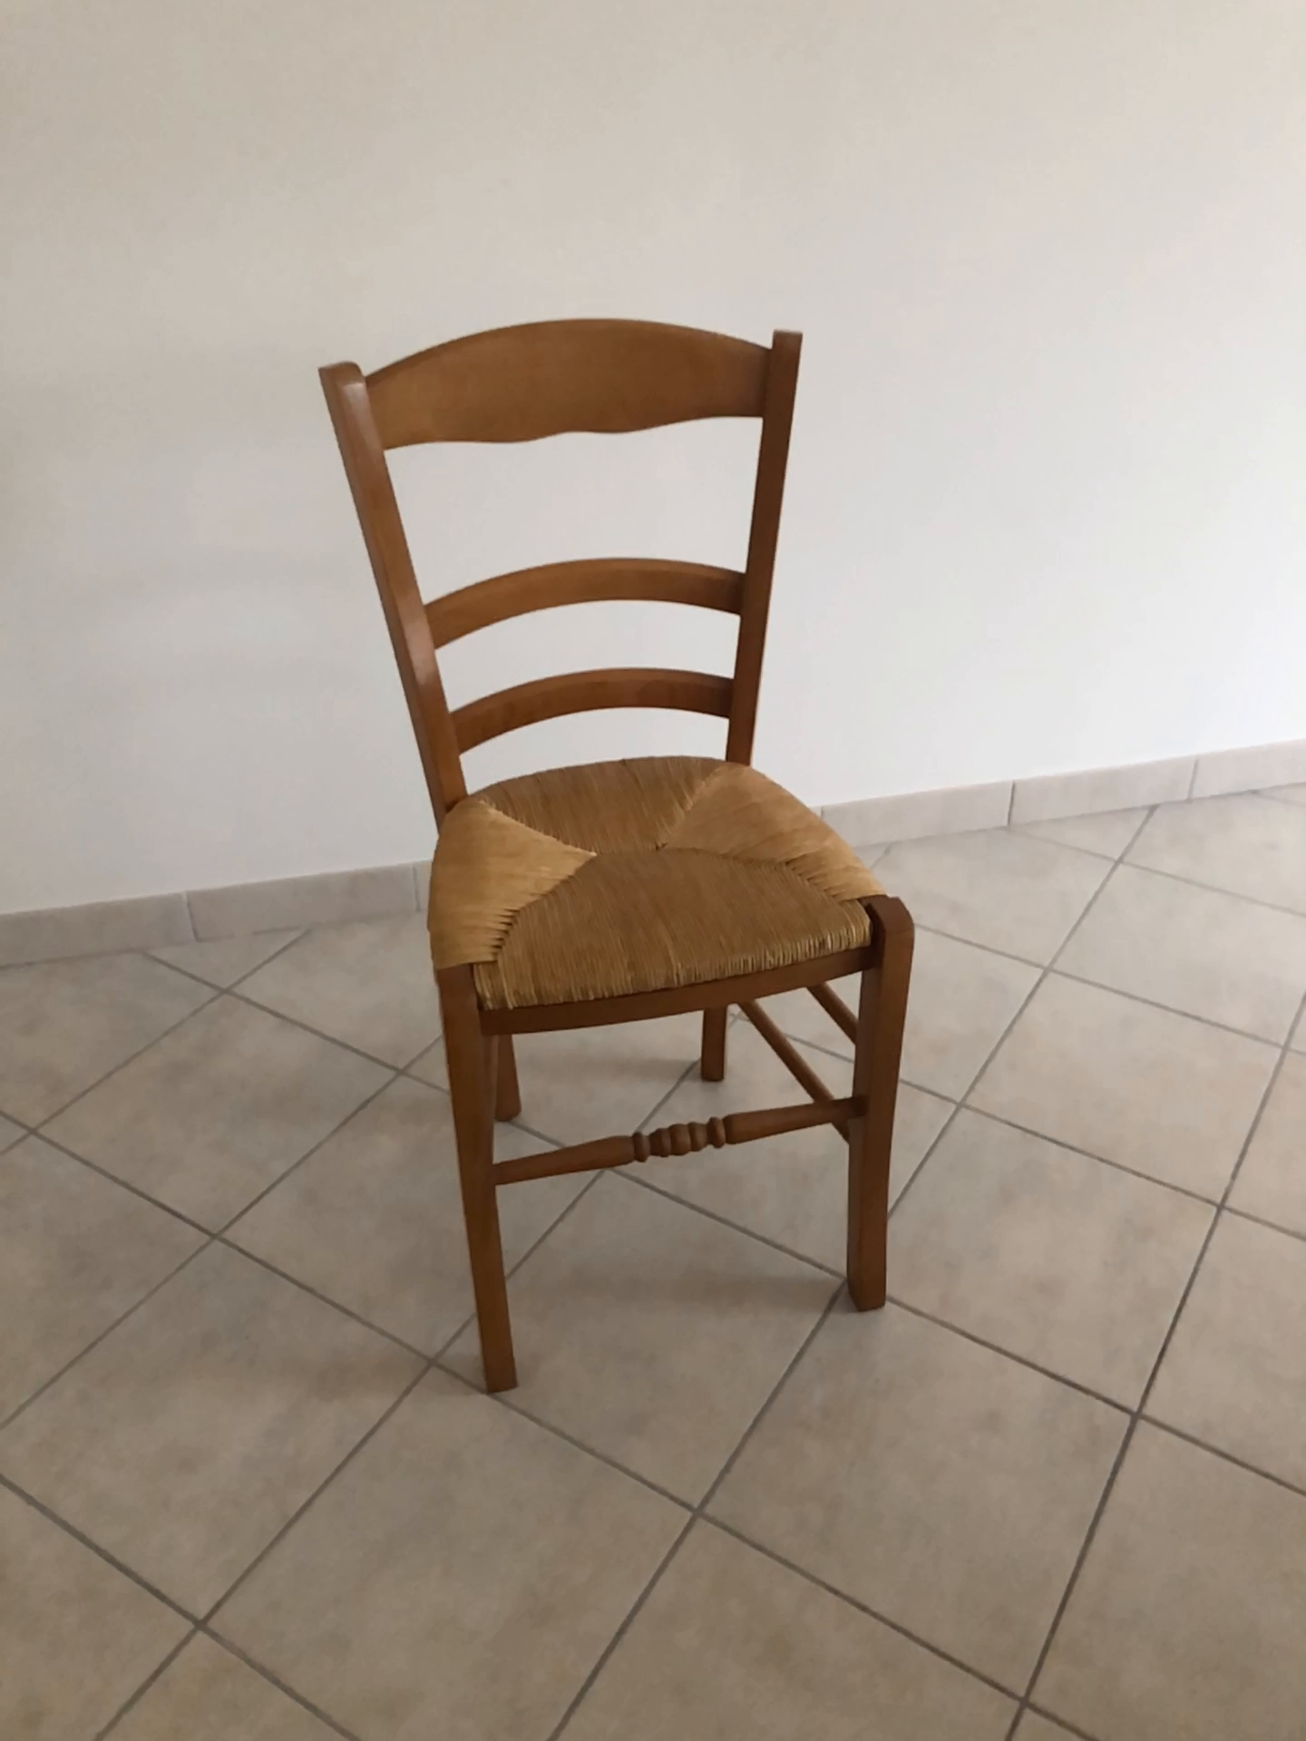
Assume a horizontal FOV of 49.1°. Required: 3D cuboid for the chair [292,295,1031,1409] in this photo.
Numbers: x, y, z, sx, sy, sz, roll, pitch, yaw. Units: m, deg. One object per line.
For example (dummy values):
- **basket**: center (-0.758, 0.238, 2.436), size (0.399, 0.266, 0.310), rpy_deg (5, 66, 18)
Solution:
- **chair**: center (-0.028, -0.024, 1.312), size (0.451, 0.825, 0.502), rpy_deg (-9, 35, -11)
